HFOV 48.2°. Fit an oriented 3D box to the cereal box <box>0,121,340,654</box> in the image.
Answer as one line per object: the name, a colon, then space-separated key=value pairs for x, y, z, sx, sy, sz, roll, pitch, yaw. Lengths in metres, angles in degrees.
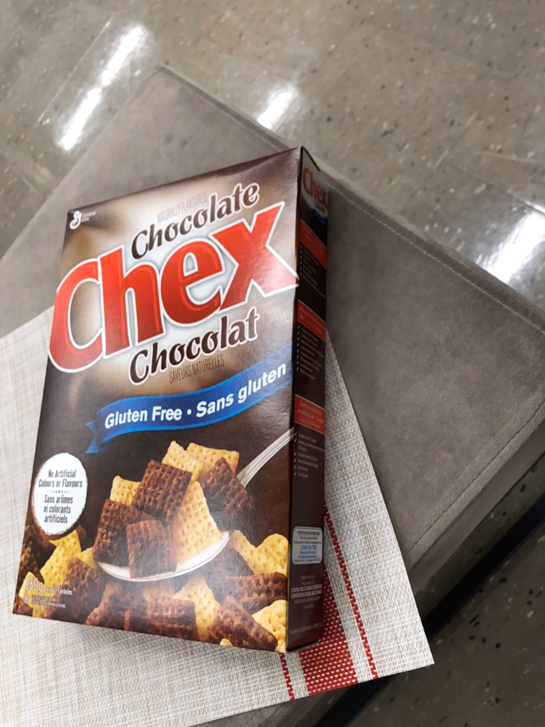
cereal box: x=-0.066 y=0.012 z=0.392 sx=0.211 sy=0.050 sz=0.290 roll=-6 pitch=72 yaw=27
